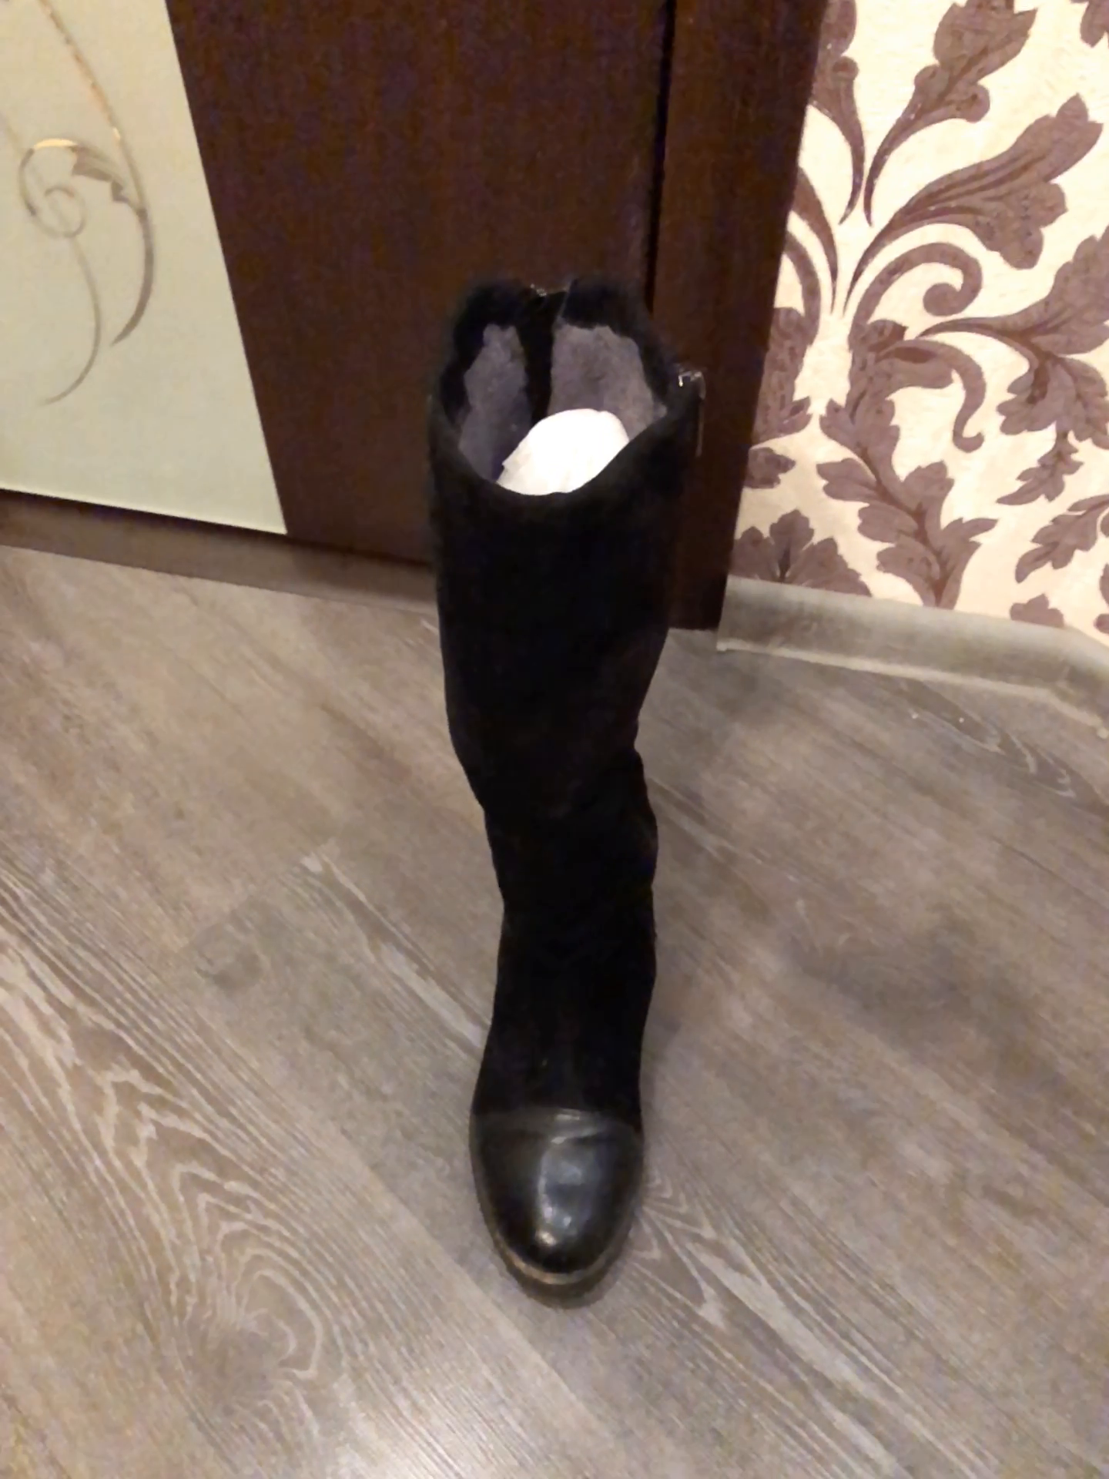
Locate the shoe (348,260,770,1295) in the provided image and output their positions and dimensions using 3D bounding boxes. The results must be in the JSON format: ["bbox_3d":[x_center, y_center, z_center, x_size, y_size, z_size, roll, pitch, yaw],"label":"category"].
[{"bbox_3d":[0.005,0.051,0.528,0.100,0.408,0.251,1,52,1],"label":"shoe"}]
